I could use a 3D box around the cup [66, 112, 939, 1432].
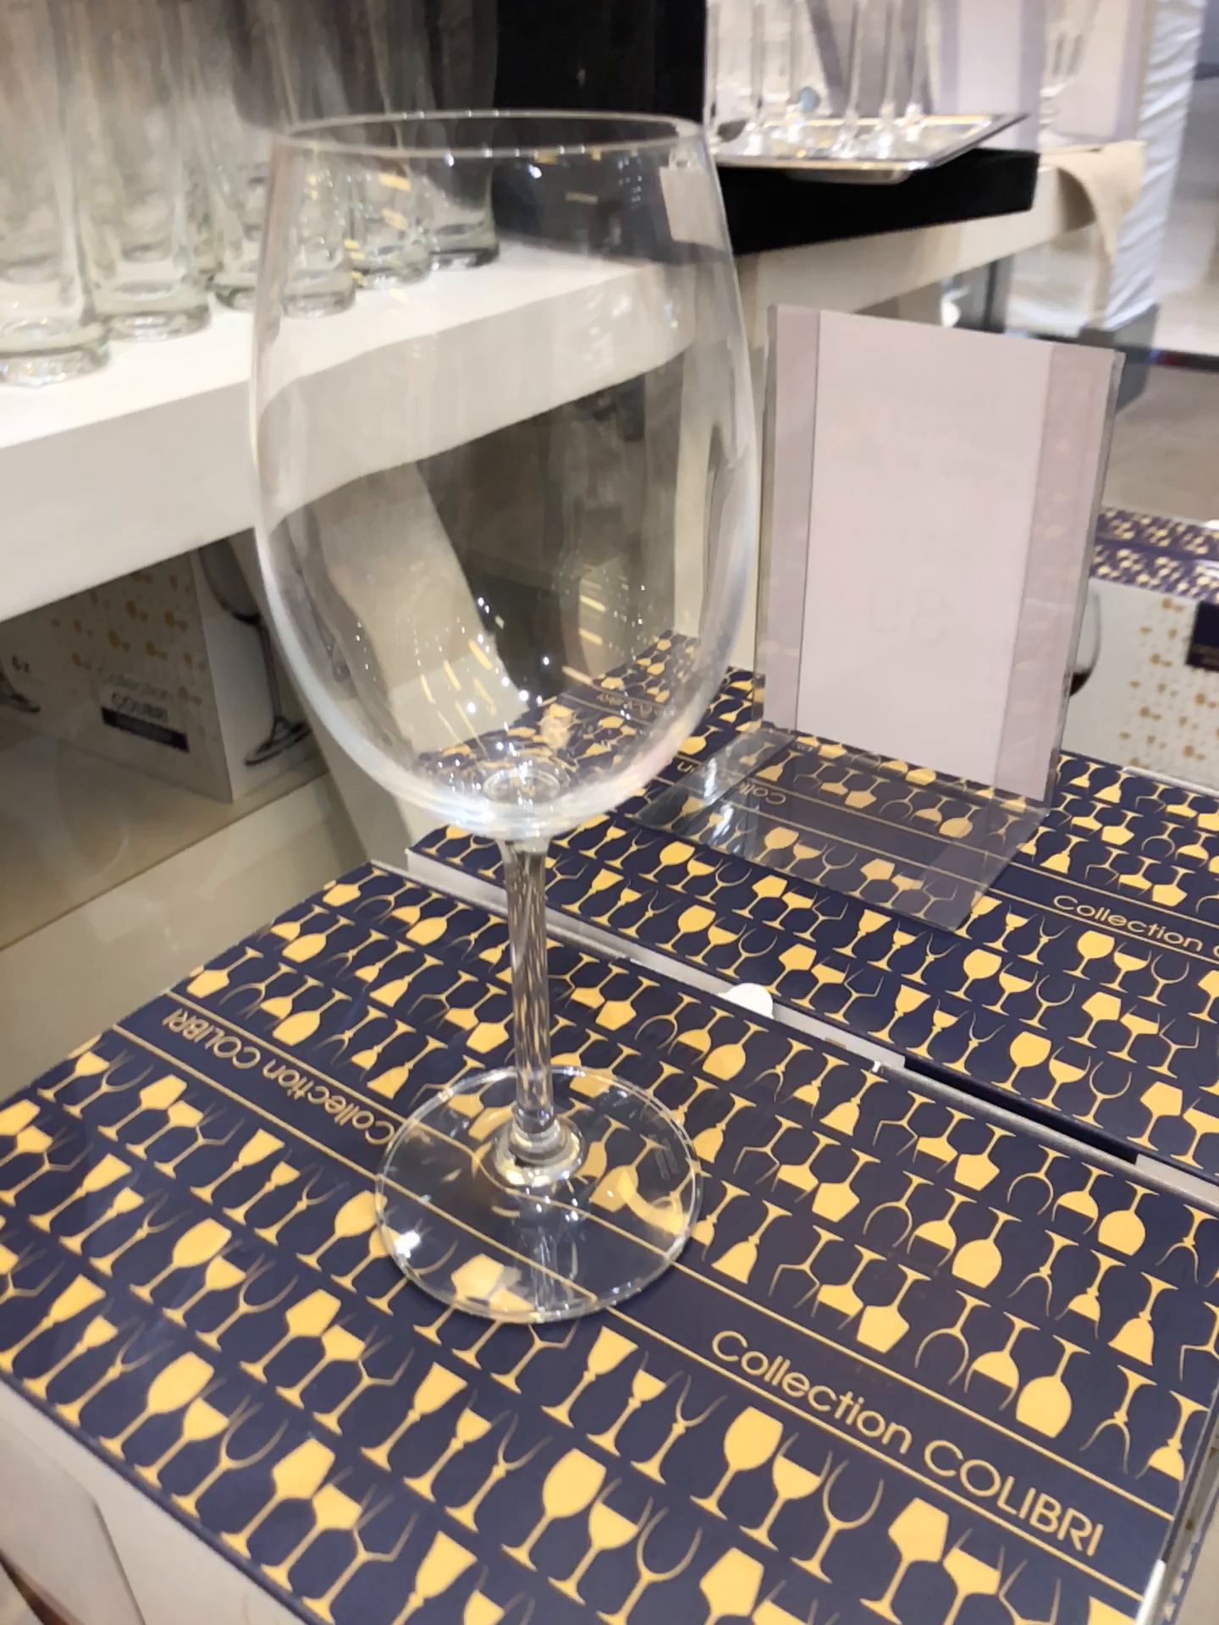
[{"bbox_3d":[-0.013,-0.008,0.251,0.090,0.208,0.090,0,31,0],"label":"cup"}]
